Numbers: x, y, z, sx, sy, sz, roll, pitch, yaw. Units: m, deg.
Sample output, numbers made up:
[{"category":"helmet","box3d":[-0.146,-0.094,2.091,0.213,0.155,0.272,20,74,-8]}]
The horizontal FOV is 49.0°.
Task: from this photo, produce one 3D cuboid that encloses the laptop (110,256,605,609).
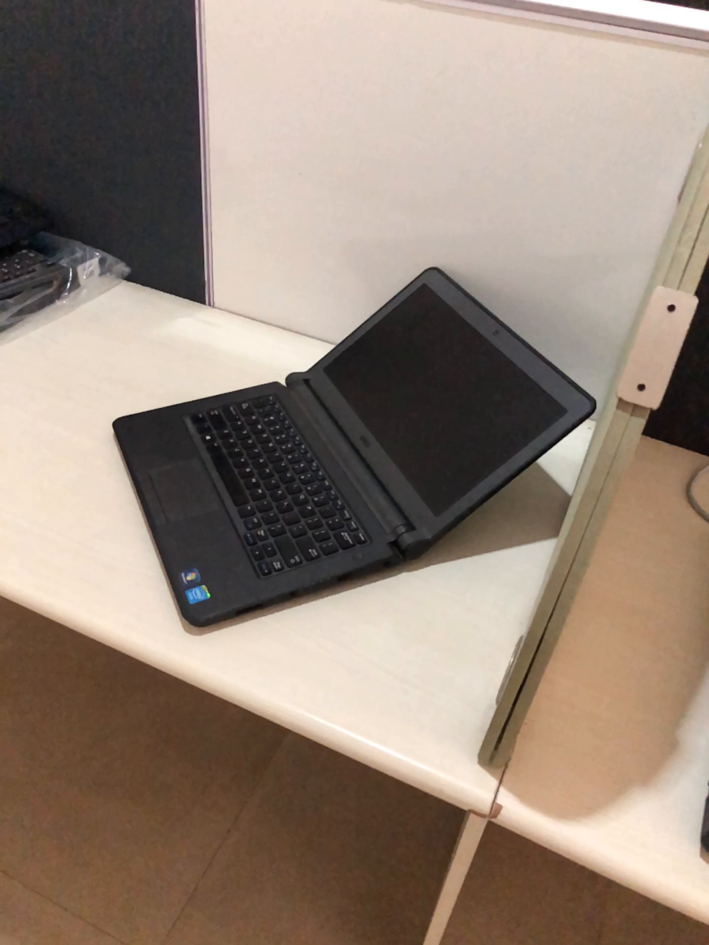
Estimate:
[{"category":"laptop","box3d":[-0.017,-0.072,0.805,0.395,0.128,0.311,-15,42,-19]}]
